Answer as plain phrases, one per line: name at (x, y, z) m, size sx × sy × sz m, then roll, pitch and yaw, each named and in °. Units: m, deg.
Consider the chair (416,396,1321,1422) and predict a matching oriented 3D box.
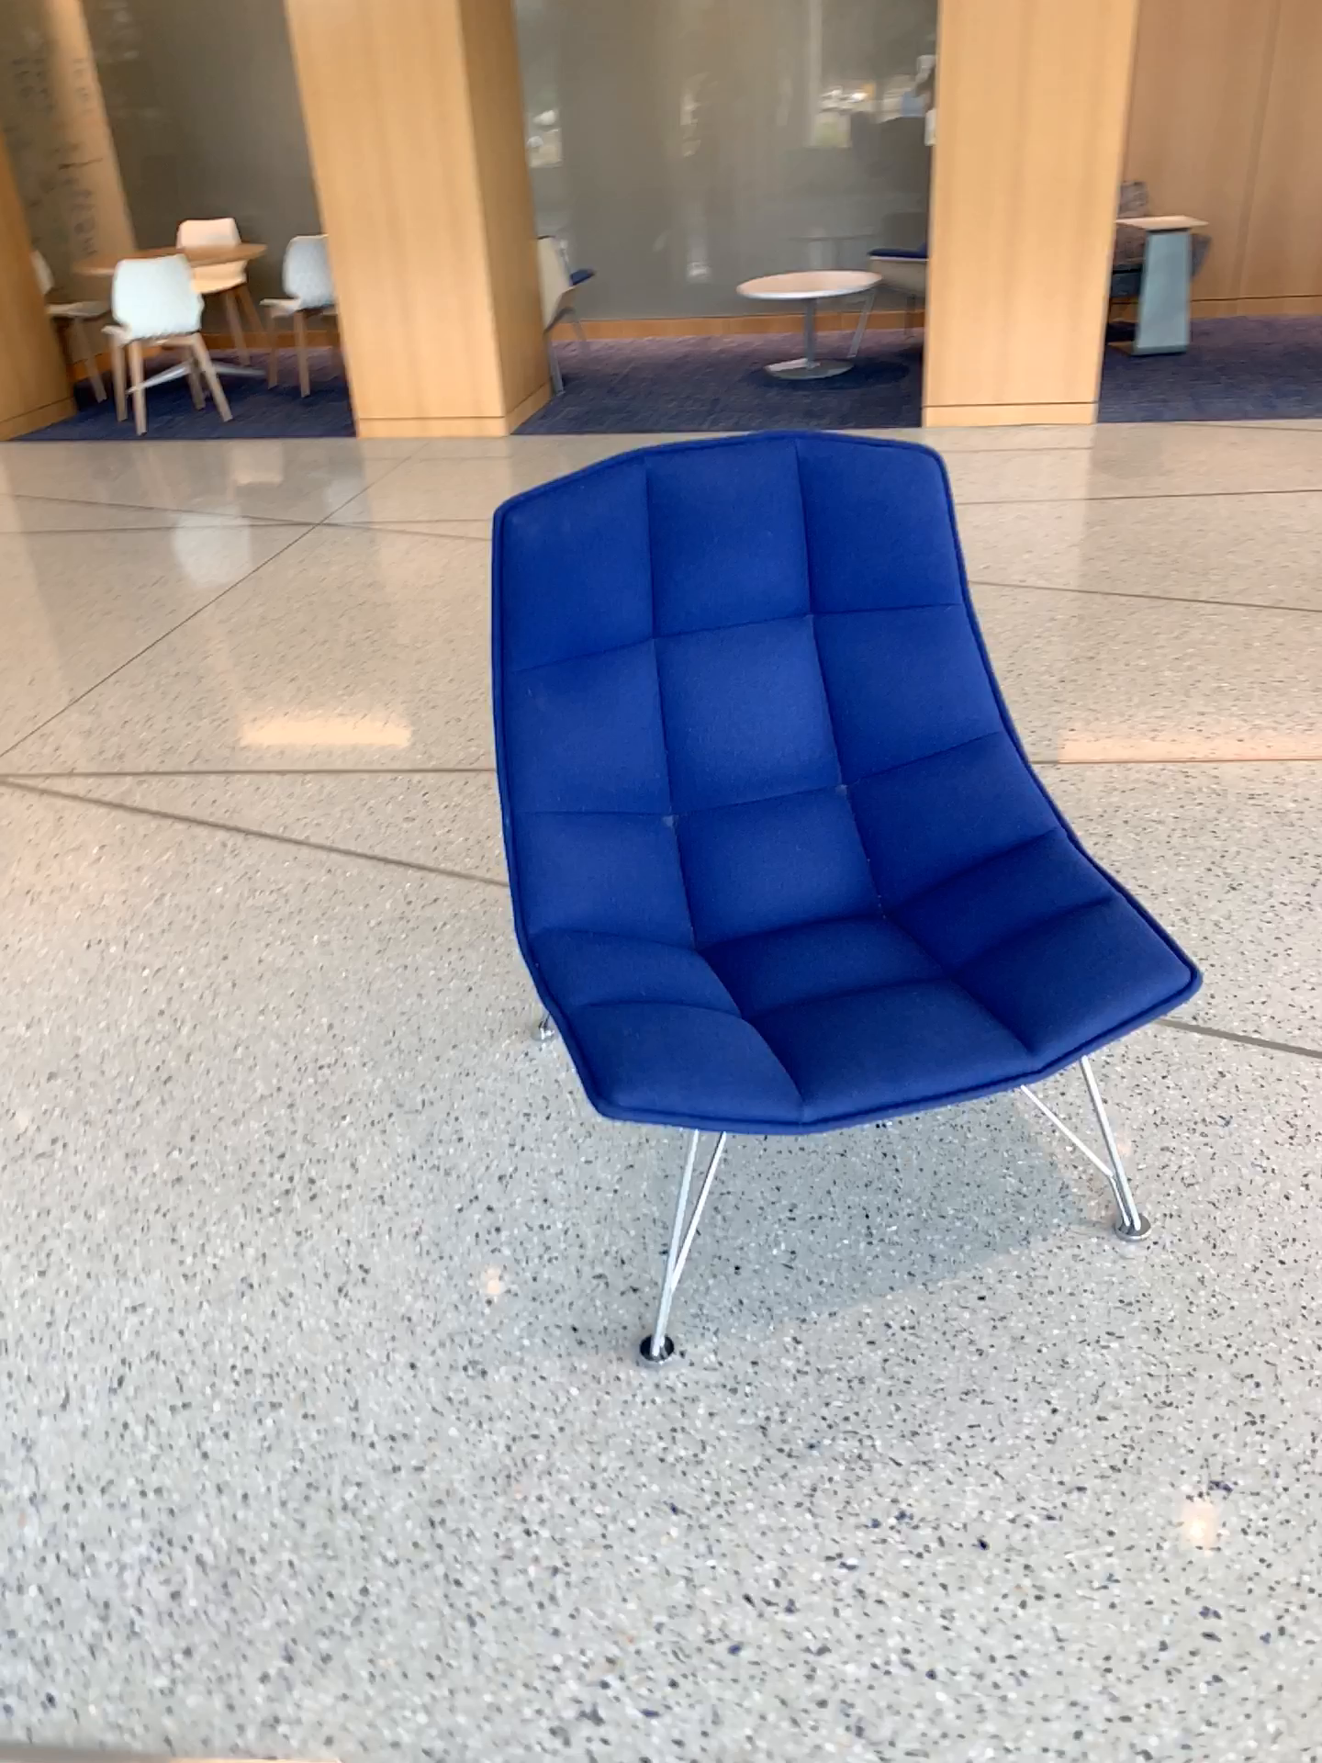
chair at (0.181, -0.036, 1.801) m, size 0.799 × 0.963 × 0.835 m, roll -10°, pitch 30°, yaw -11°
